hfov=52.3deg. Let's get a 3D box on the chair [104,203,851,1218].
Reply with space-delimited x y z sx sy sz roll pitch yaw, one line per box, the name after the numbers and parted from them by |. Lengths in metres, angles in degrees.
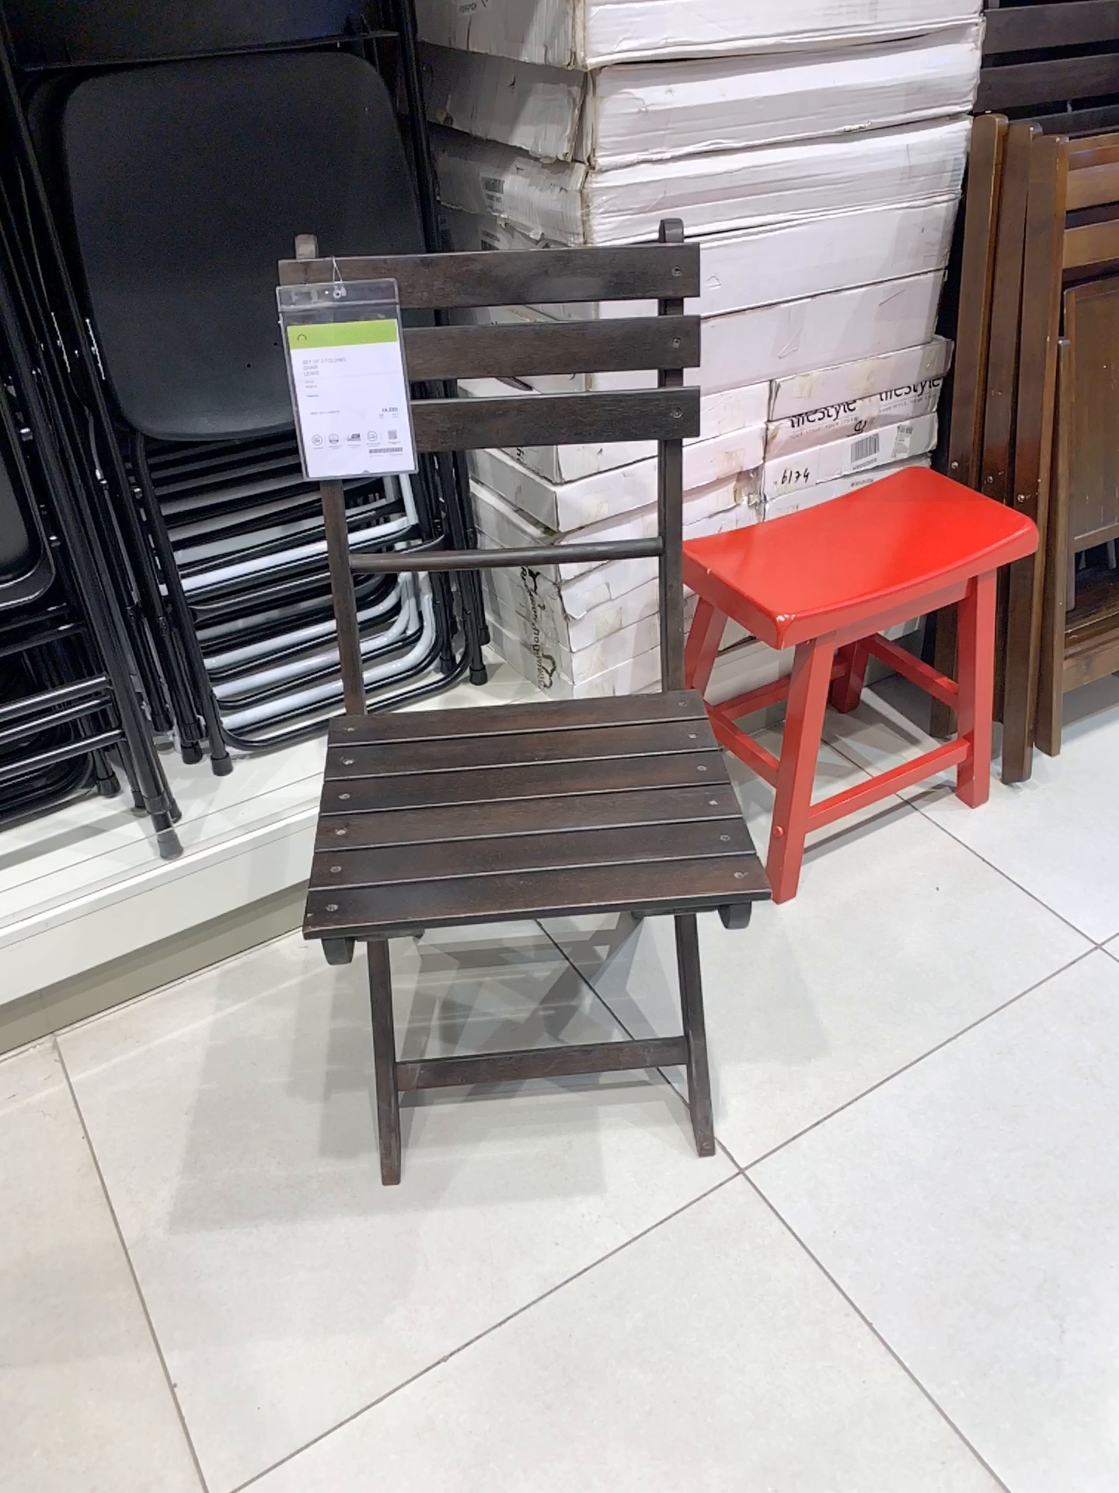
-0.054 -0.018 1.072 0.420 0.796 0.482 -4 37 -3 | chair
